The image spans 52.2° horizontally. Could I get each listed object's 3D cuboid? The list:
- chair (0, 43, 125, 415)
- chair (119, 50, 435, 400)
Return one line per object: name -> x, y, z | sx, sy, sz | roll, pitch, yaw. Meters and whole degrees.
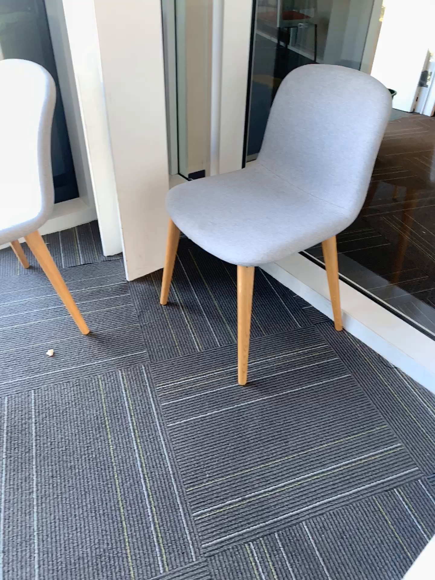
chair -> -0.742, -0.230, 1.305 | 0.601, 0.726, 0.653 | -28, 47, -32
chair -> 0.146, -0.231, 1.330 | 0.591, 0.726, 0.563 | -26, 47, -31
